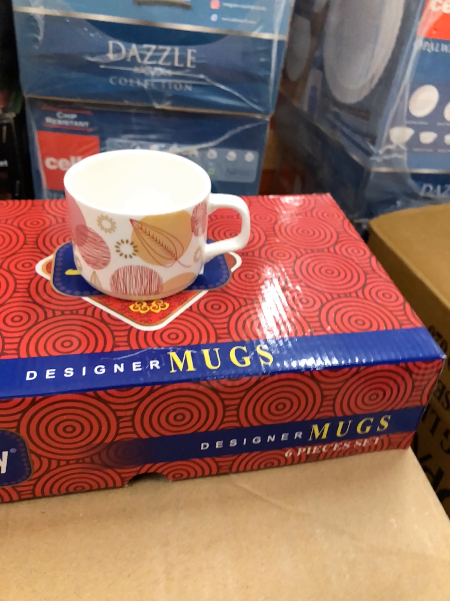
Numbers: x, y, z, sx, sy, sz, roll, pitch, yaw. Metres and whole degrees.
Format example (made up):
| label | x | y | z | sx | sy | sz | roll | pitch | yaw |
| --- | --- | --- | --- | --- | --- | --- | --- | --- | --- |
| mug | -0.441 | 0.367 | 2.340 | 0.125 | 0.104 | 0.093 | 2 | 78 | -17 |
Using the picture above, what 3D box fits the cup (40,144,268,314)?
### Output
| label | x | y | z | sx | sy | sz | roll | pitch | yaw |
| --- | --- | --- | --- | --- | --- | --- | --- | --- | --- |
| cup | -0.034 | -0.035 | 0.243 | 0.090 | 0.050 | 0.070 | 1 | 37 | -10 |
